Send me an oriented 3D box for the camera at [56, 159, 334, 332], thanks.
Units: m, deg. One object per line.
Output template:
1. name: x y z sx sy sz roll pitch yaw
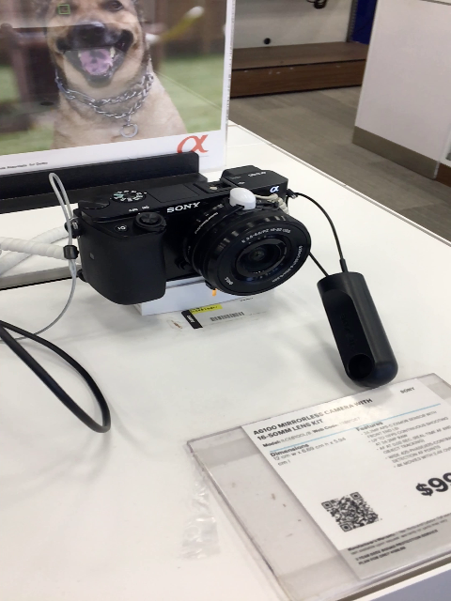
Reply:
1. camera: -0.020 -0.040 0.382 0.137 0.064 0.079 -16 41 -21
